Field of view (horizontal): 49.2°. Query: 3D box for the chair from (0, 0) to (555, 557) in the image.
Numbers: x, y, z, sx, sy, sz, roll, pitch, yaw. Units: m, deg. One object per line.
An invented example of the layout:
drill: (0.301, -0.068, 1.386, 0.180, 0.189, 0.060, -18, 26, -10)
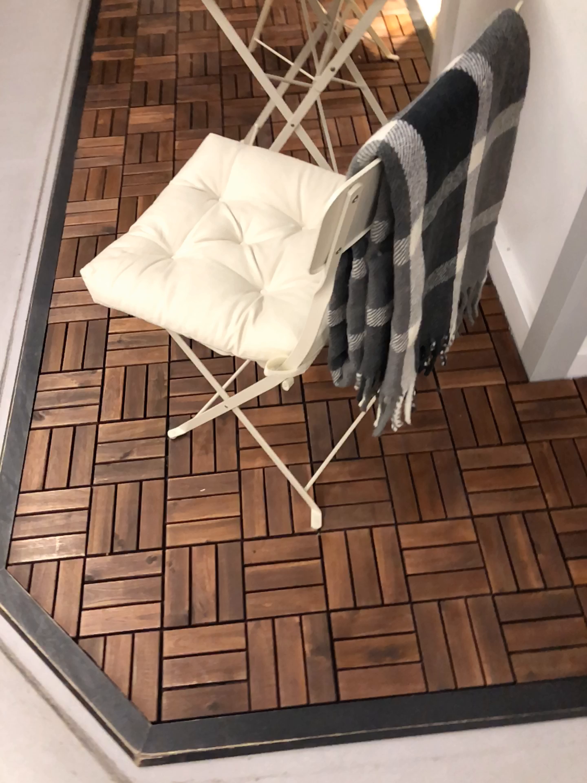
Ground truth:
chair: (-0.055, -0.217, 0.971, 0.511, 0.736, 0.491, 29, 61, 21)
